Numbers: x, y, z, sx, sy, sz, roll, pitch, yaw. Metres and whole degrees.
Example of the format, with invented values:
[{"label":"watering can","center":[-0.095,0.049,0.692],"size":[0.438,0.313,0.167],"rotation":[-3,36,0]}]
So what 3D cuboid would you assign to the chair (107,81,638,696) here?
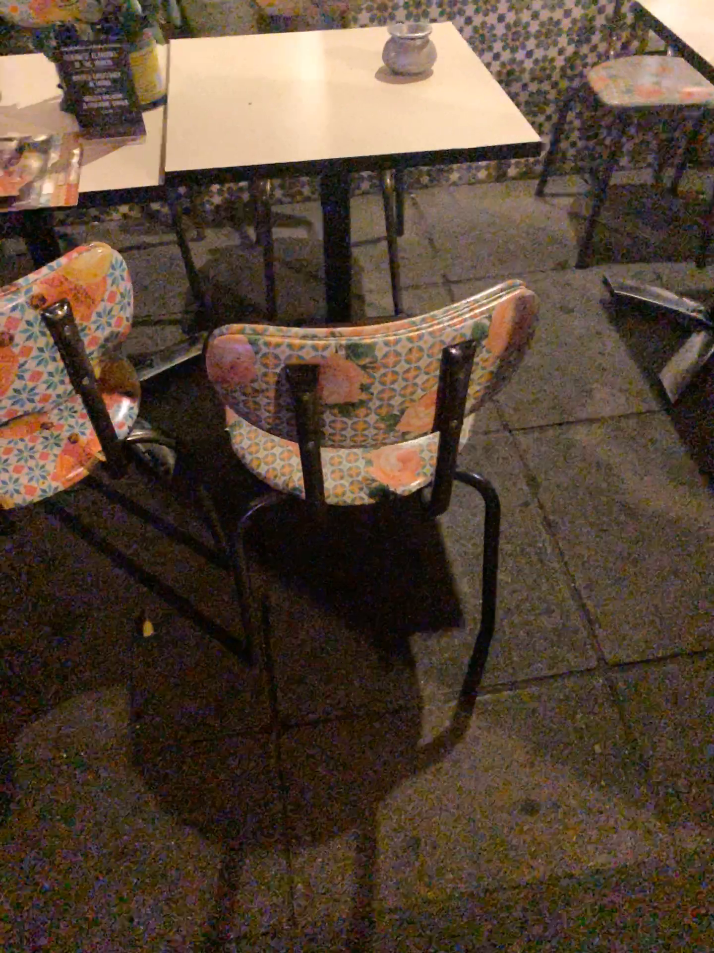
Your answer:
[{"label":"chair","center":[-0.023,-0.115,1.143],"size":[0.520,0.694,0.575],"rotation":[-9,50,-6]}]
